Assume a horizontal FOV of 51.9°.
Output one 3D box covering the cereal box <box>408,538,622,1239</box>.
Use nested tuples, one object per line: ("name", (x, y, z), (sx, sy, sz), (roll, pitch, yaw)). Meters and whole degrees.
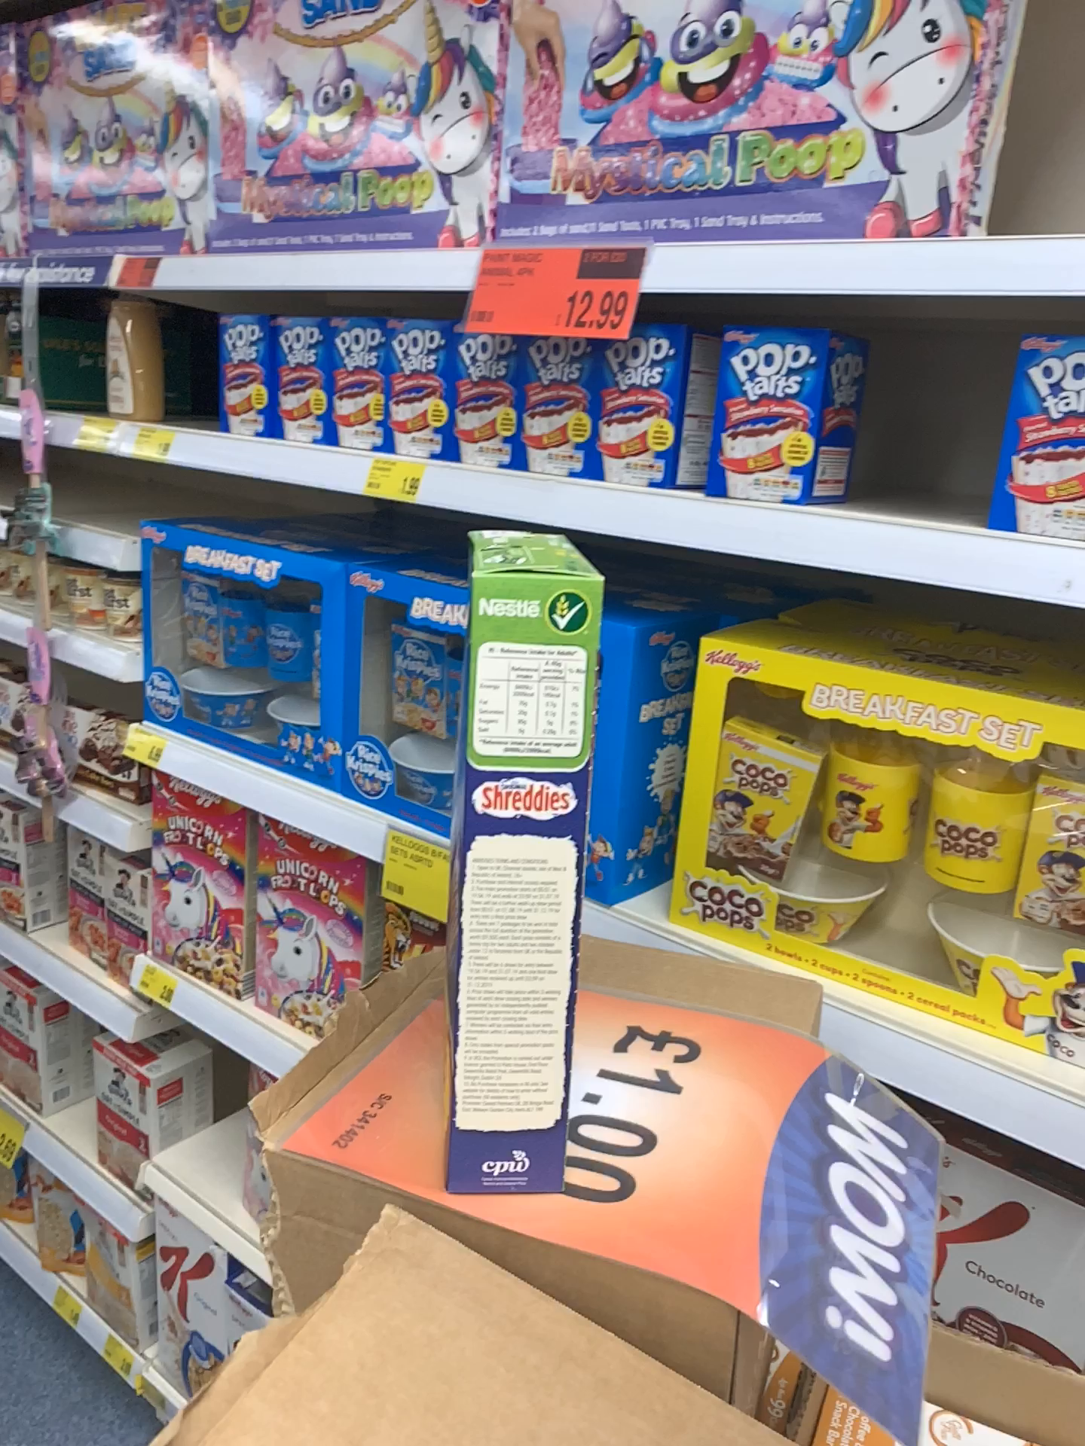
("cereal box", (-0.016, 0.057, 0.536), (0.070, 0.269, 0.211), (3, 13, -2))
